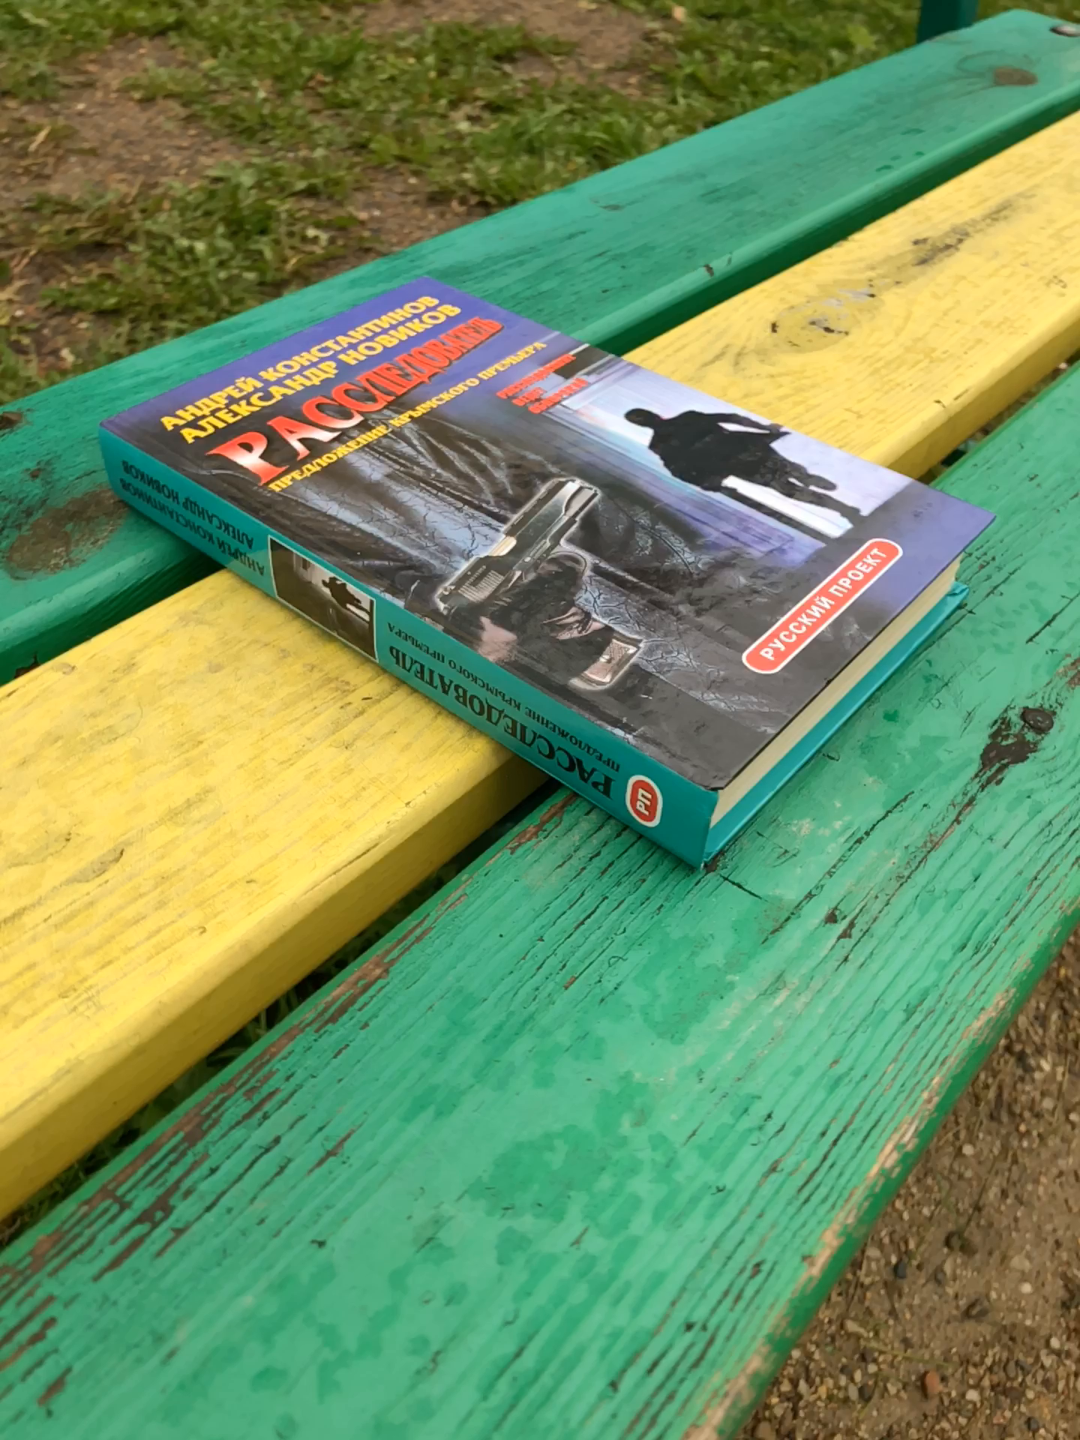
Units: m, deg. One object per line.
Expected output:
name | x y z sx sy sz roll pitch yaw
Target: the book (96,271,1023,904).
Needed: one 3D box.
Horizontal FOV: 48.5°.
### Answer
book | 0.003 -0.055 0.325 0.202 0.031 0.139 32 50 26
